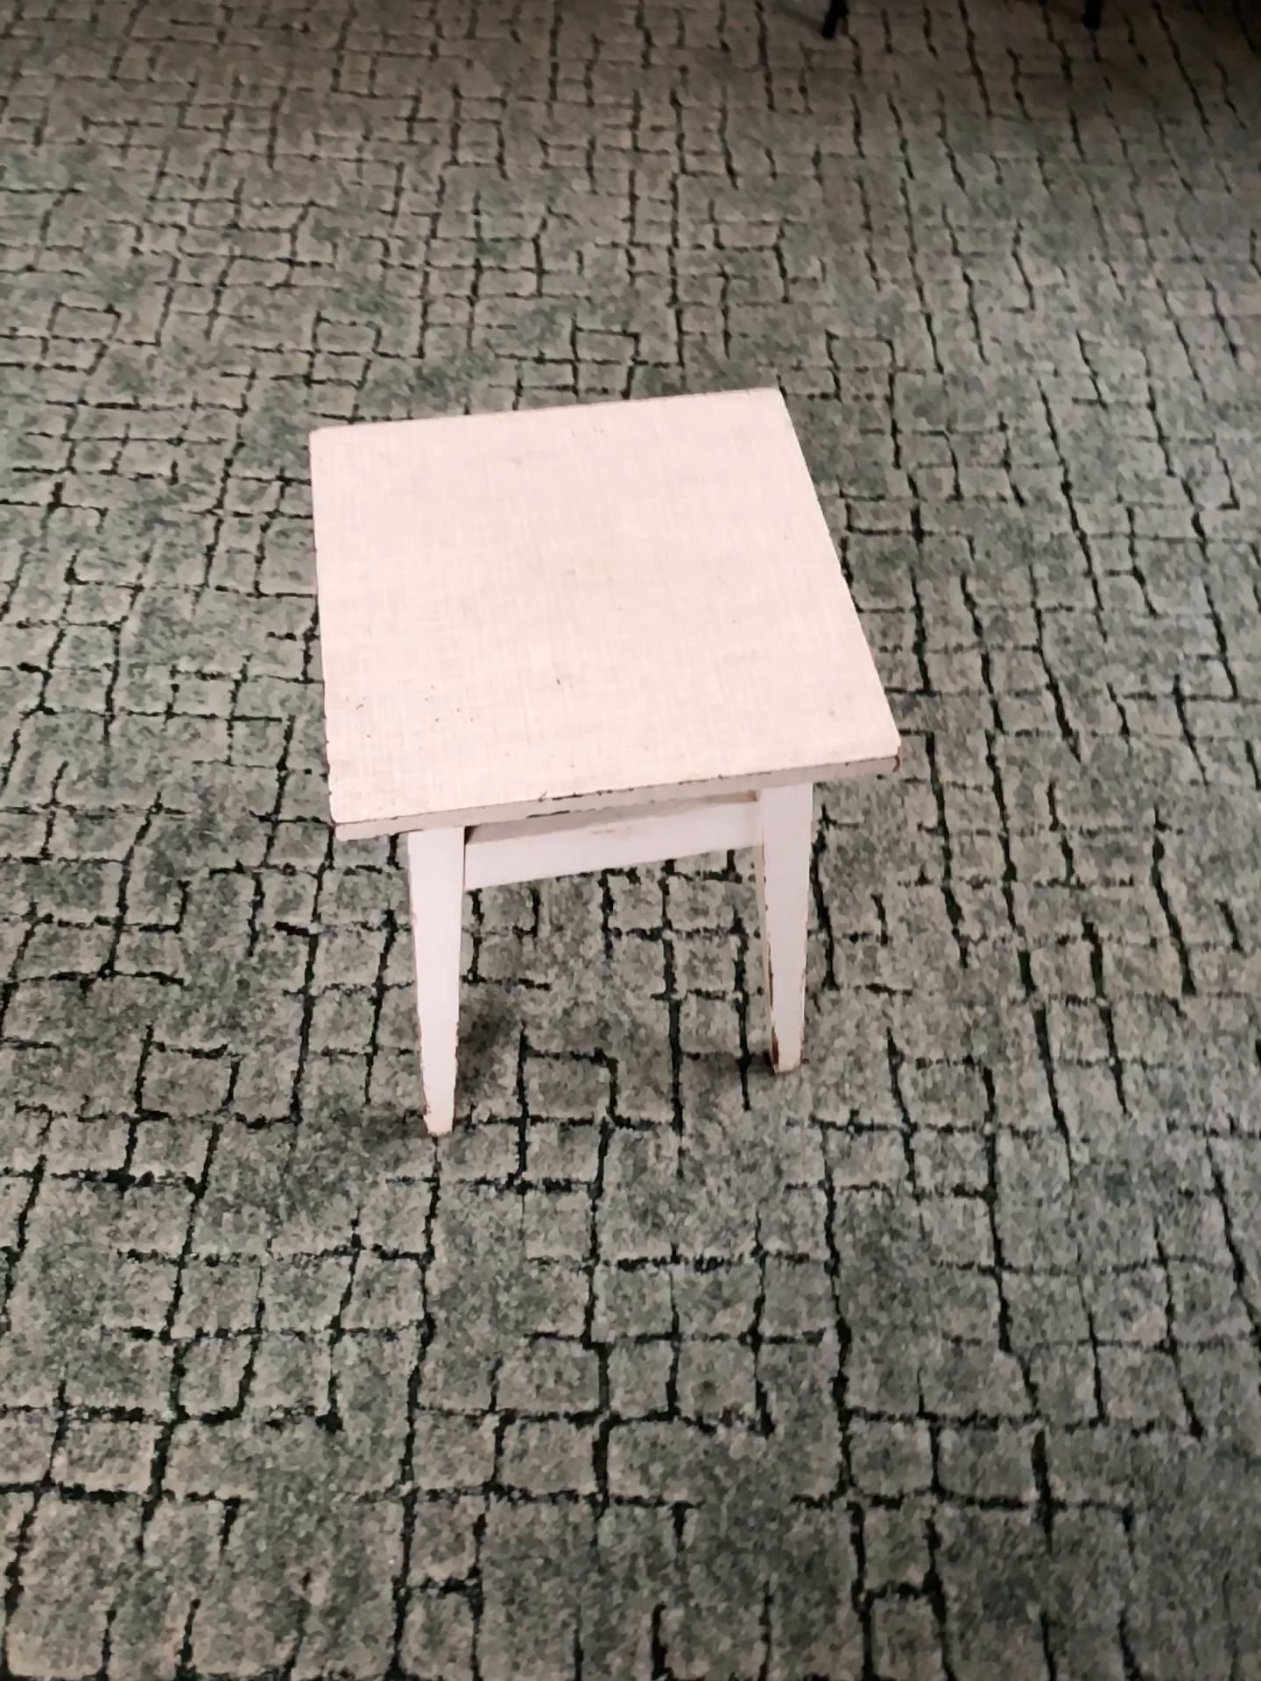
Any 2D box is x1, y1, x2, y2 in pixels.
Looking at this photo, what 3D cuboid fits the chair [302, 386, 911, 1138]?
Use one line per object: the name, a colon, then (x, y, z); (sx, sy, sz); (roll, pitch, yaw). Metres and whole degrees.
chair: (-0.035, -0.039, 1.051); (0.334, 0.447, 0.334); (-7, 57, -6)
